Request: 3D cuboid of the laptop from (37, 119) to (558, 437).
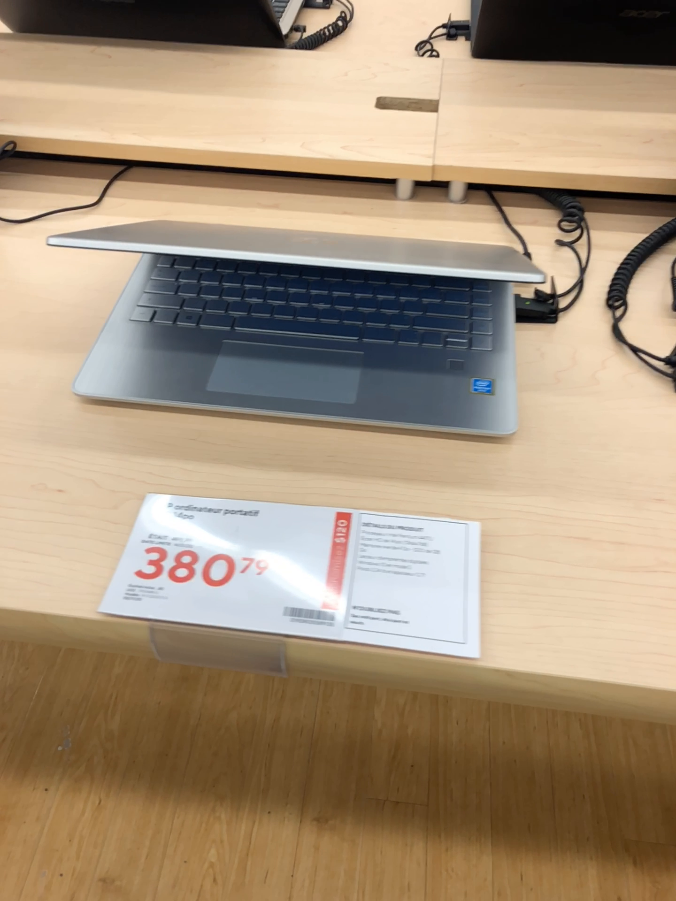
[{"bbox_3d":[-0.025,-0.143,0.544,0.318,0.104,0.217,6,47,11],"label":"laptop"}]
